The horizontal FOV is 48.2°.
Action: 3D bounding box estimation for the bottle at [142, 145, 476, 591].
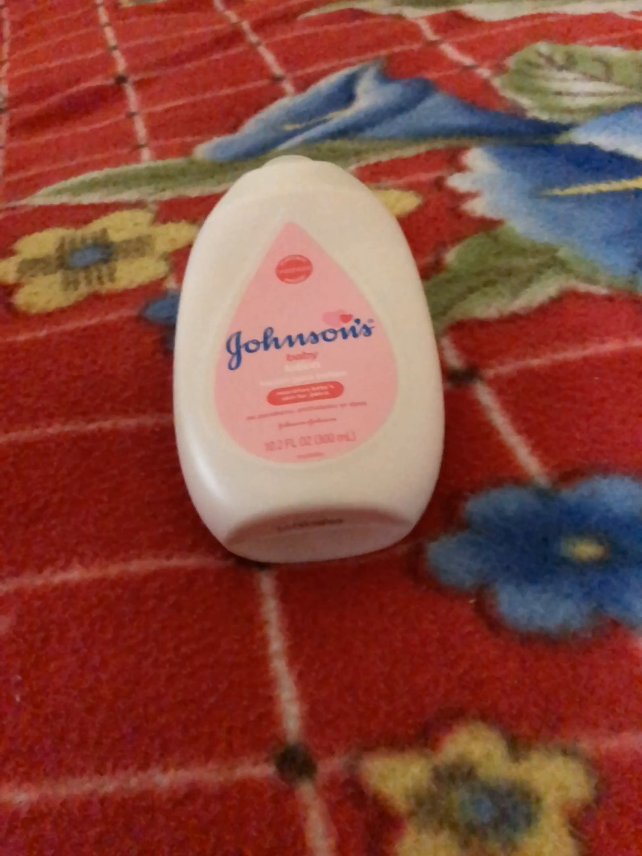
[{"bbox_3d":[-0.005,-0.034,0.239,0.080,0.030,0.170,-9,47,5],"label":"bottle"}]
